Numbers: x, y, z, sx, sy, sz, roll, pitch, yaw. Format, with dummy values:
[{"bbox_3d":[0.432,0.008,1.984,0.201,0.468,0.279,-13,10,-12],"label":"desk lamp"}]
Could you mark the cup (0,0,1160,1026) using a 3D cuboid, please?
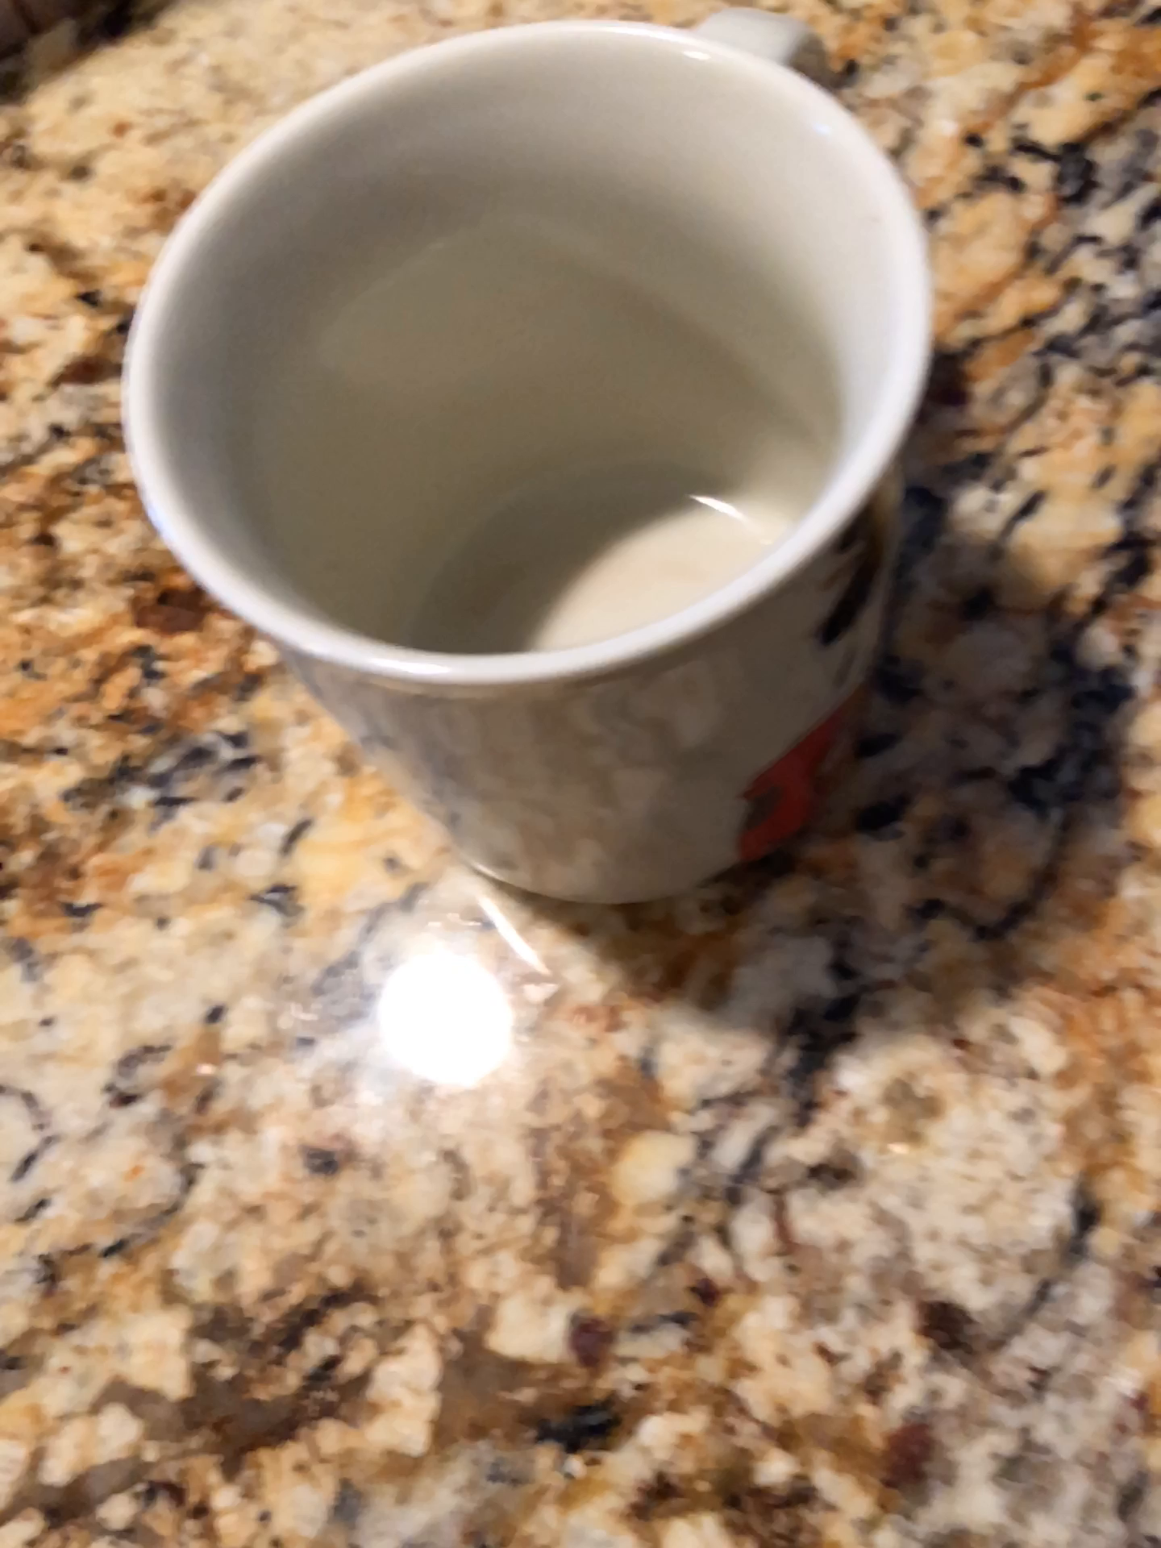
[{"bbox_3d":[0.010,-0.047,0.174,0.090,0.090,0.120,17,72,16],"label":"cup"}]
